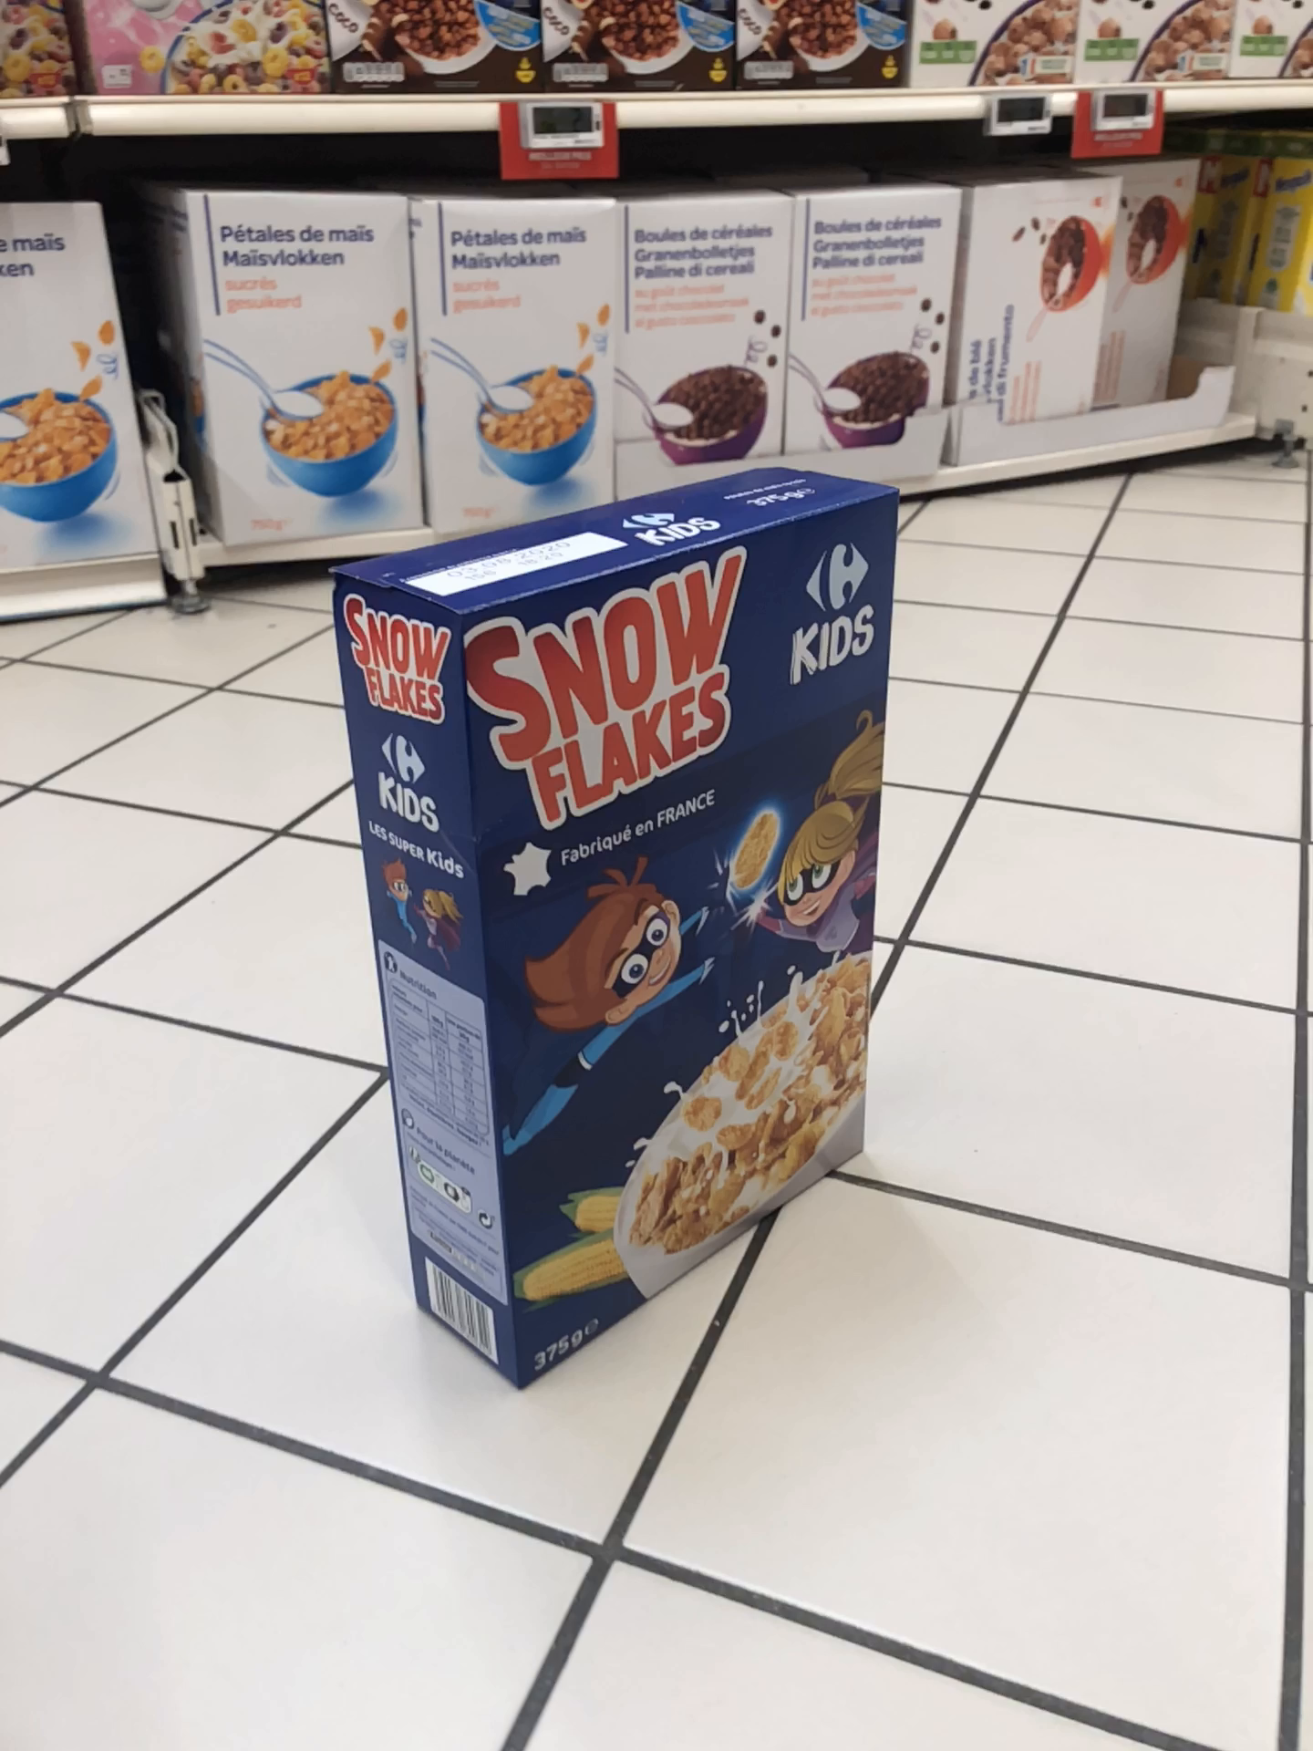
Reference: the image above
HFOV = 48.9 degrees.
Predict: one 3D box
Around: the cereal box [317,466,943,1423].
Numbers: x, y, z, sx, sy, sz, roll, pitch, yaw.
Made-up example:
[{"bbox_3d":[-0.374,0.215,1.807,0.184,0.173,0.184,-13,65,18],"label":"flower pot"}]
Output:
[{"bbox_3d":[0.002,0.018,0.530,0.201,0.288,0.080,-24,35,-38],"label":"cereal box"}]
